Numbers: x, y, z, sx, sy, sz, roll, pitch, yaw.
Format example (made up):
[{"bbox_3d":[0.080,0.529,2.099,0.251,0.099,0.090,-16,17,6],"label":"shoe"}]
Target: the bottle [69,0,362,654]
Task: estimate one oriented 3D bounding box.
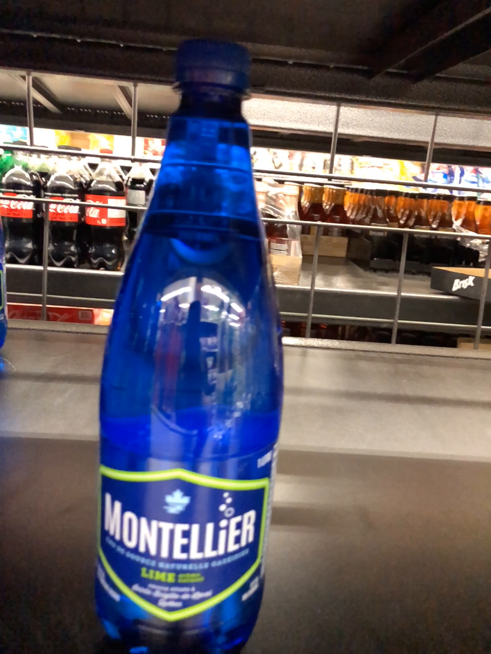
[{"bbox_3d":[-0.022,0.016,0.264,0.100,0.289,0.090,4,15,-2],"label":"bottle"}]
